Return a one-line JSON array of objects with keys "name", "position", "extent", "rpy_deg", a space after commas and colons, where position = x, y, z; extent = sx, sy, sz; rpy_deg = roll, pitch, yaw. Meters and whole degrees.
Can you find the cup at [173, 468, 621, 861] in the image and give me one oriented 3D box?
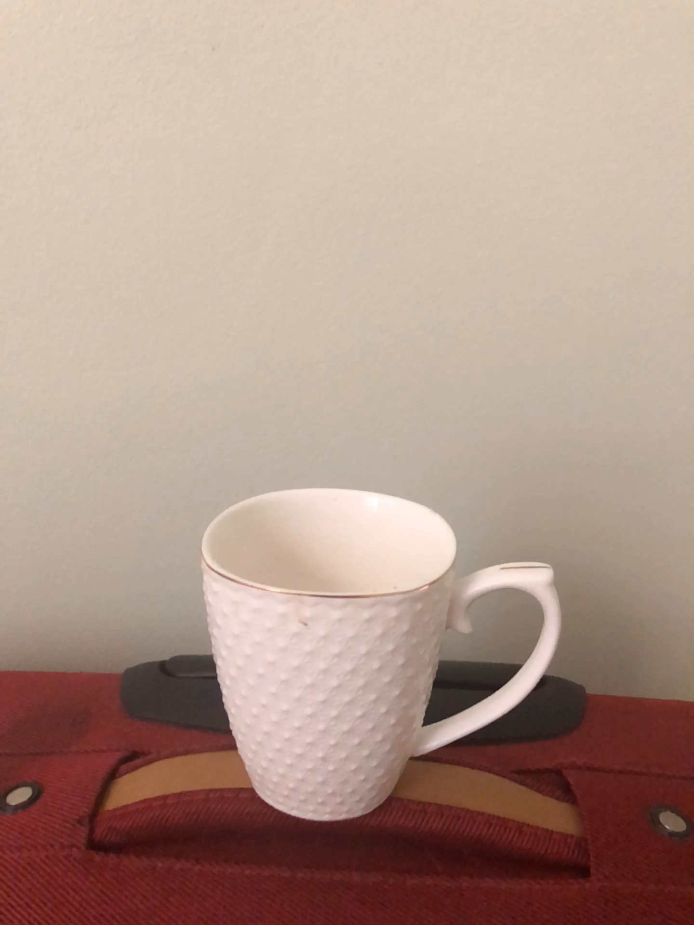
[{"name": "cup", "position": [0.010, 0.057, 0.239], "extent": [0.111, 0.084, 0.075], "rpy_deg": [-2, 21, -4]}]
